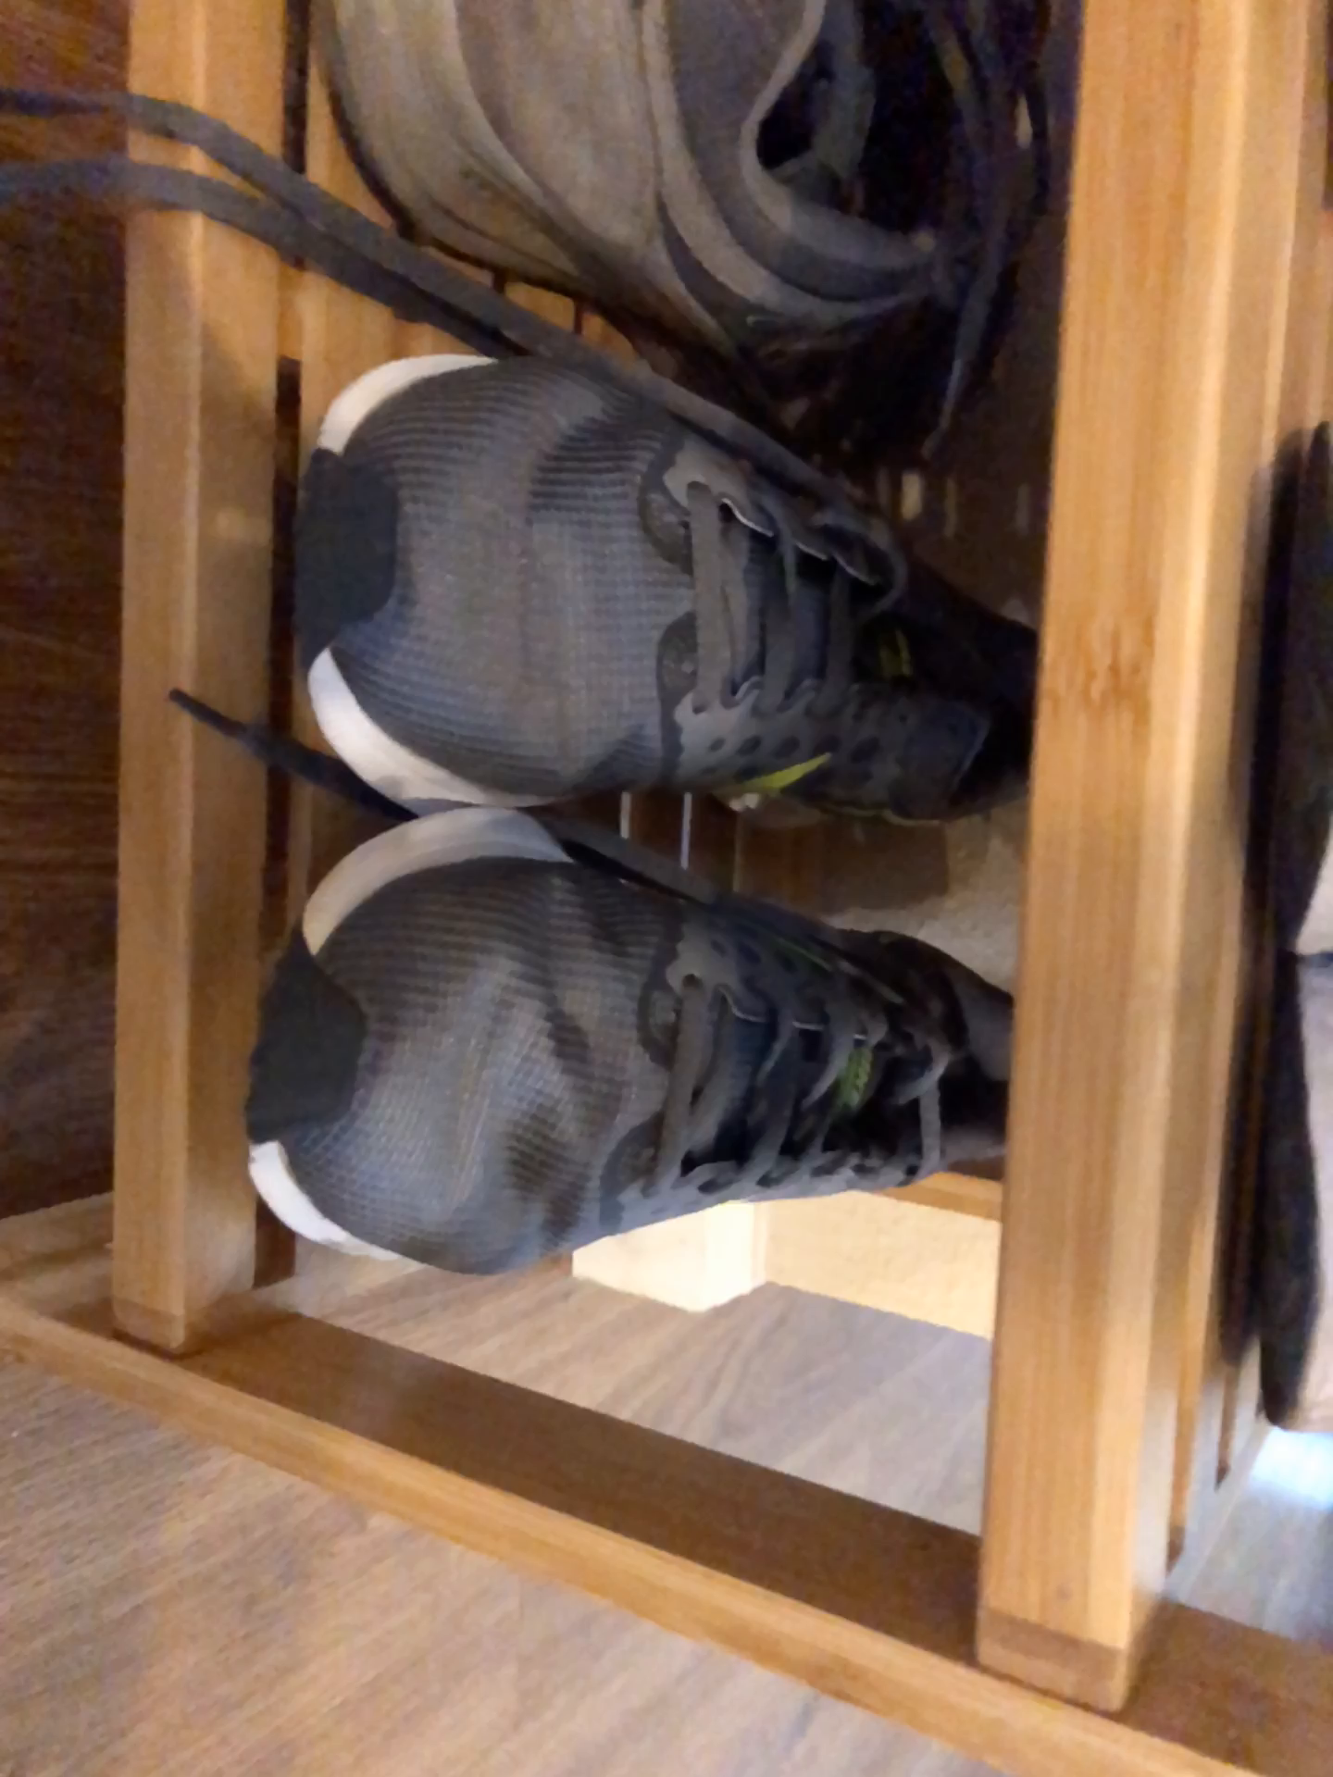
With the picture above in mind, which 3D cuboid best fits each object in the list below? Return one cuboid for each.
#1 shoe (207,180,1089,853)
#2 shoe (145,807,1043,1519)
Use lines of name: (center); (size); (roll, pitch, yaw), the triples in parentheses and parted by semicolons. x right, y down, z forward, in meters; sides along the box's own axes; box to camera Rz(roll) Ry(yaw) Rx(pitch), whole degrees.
shoe: (0.028, -0.067, 0.396); (0.312, 0.070, 0.110); (-2, 97, -57)
shoe: (0.013, 0.044, 0.403); (0.312, 0.070, 0.120); (-2, 97, -57)
